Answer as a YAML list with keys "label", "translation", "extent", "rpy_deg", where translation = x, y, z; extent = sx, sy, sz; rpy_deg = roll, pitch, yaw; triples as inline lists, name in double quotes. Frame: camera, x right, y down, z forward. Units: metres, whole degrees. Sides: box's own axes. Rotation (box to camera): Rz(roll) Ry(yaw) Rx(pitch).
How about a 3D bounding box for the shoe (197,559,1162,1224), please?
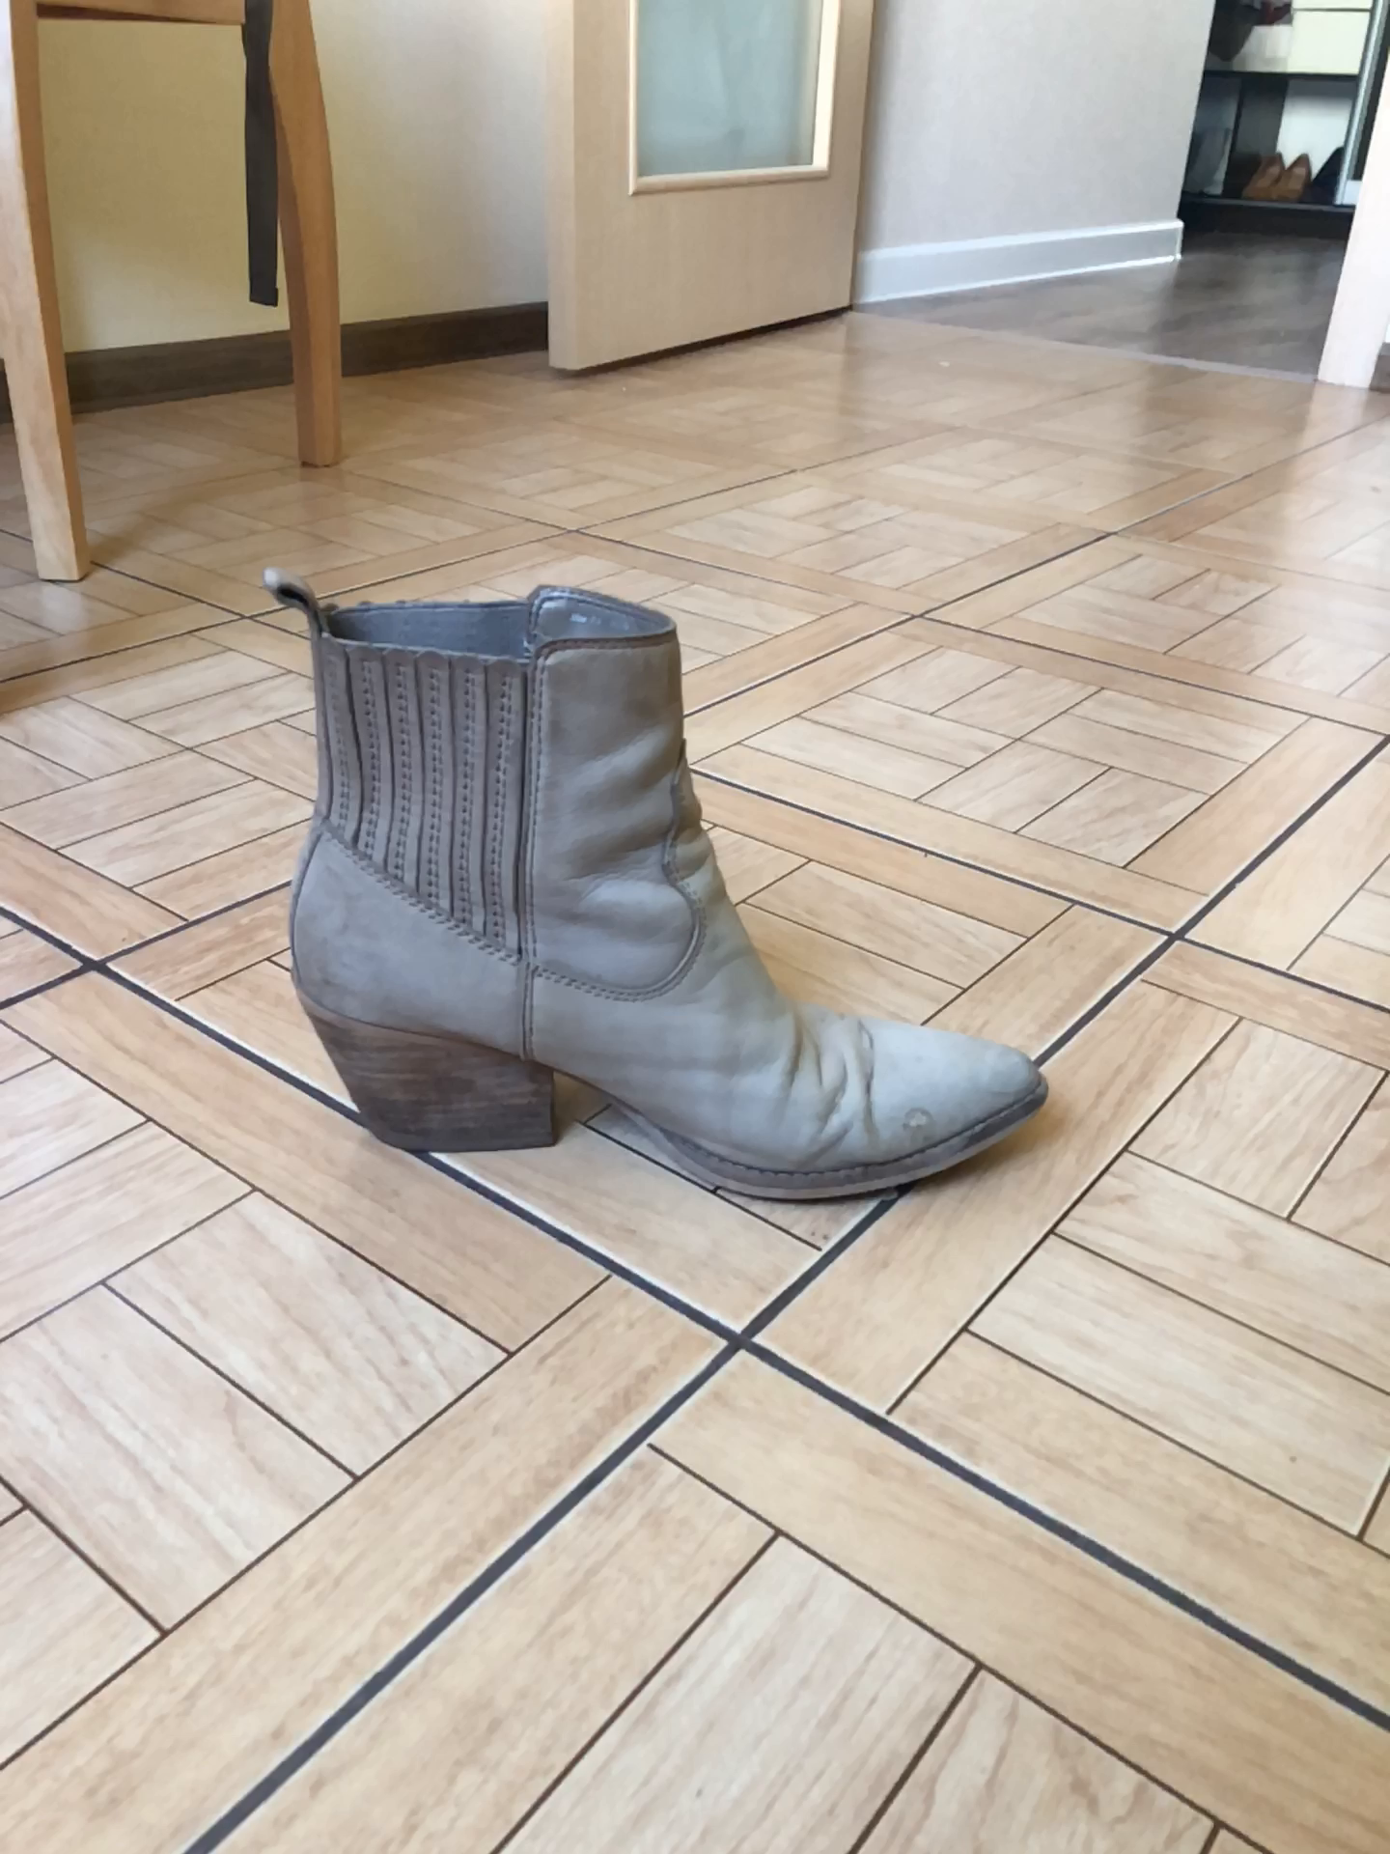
- label: "shoe"
  translation: [-0.007, -0.011, 0.494]
  extent: [0.260, 0.179, 0.090]
  rpy_deg: [3, 28, 0]
